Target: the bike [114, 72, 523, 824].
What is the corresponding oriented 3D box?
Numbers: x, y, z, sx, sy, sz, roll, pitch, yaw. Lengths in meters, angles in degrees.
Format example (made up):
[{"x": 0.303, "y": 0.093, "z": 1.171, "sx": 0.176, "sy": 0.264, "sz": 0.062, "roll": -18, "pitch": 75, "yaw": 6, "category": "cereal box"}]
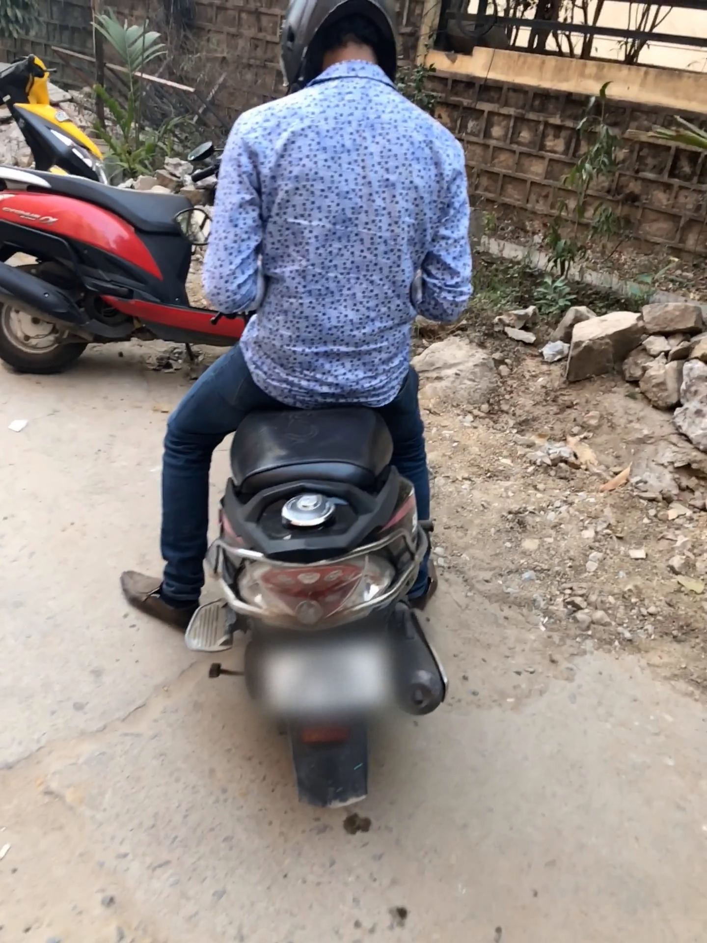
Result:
[{"x": -0.236, "y": -0.209, "z": 1.878, "sx": 0.559, "sy": 1.054, "sz": 1.483, "roll": 2, "pitch": 33, "yaw": -13, "category": "bike"}]
